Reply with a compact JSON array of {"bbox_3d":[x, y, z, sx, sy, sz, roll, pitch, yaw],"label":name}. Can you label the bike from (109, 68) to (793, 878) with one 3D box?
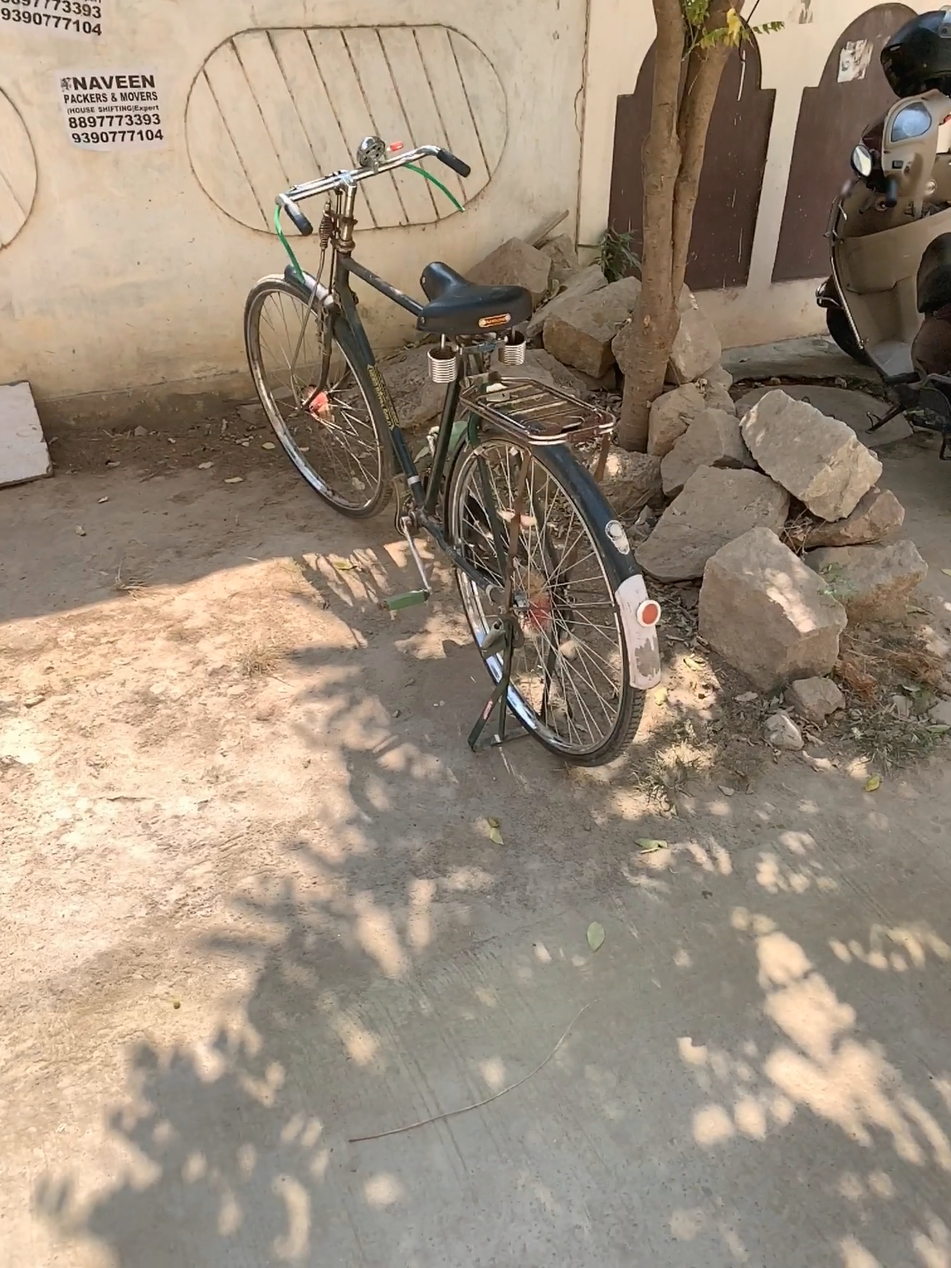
[{"bbox_3d":[-0.195,-0.492,2.107,0.465,0.994,1.658,-20,43,-27],"label":"bike"}]
